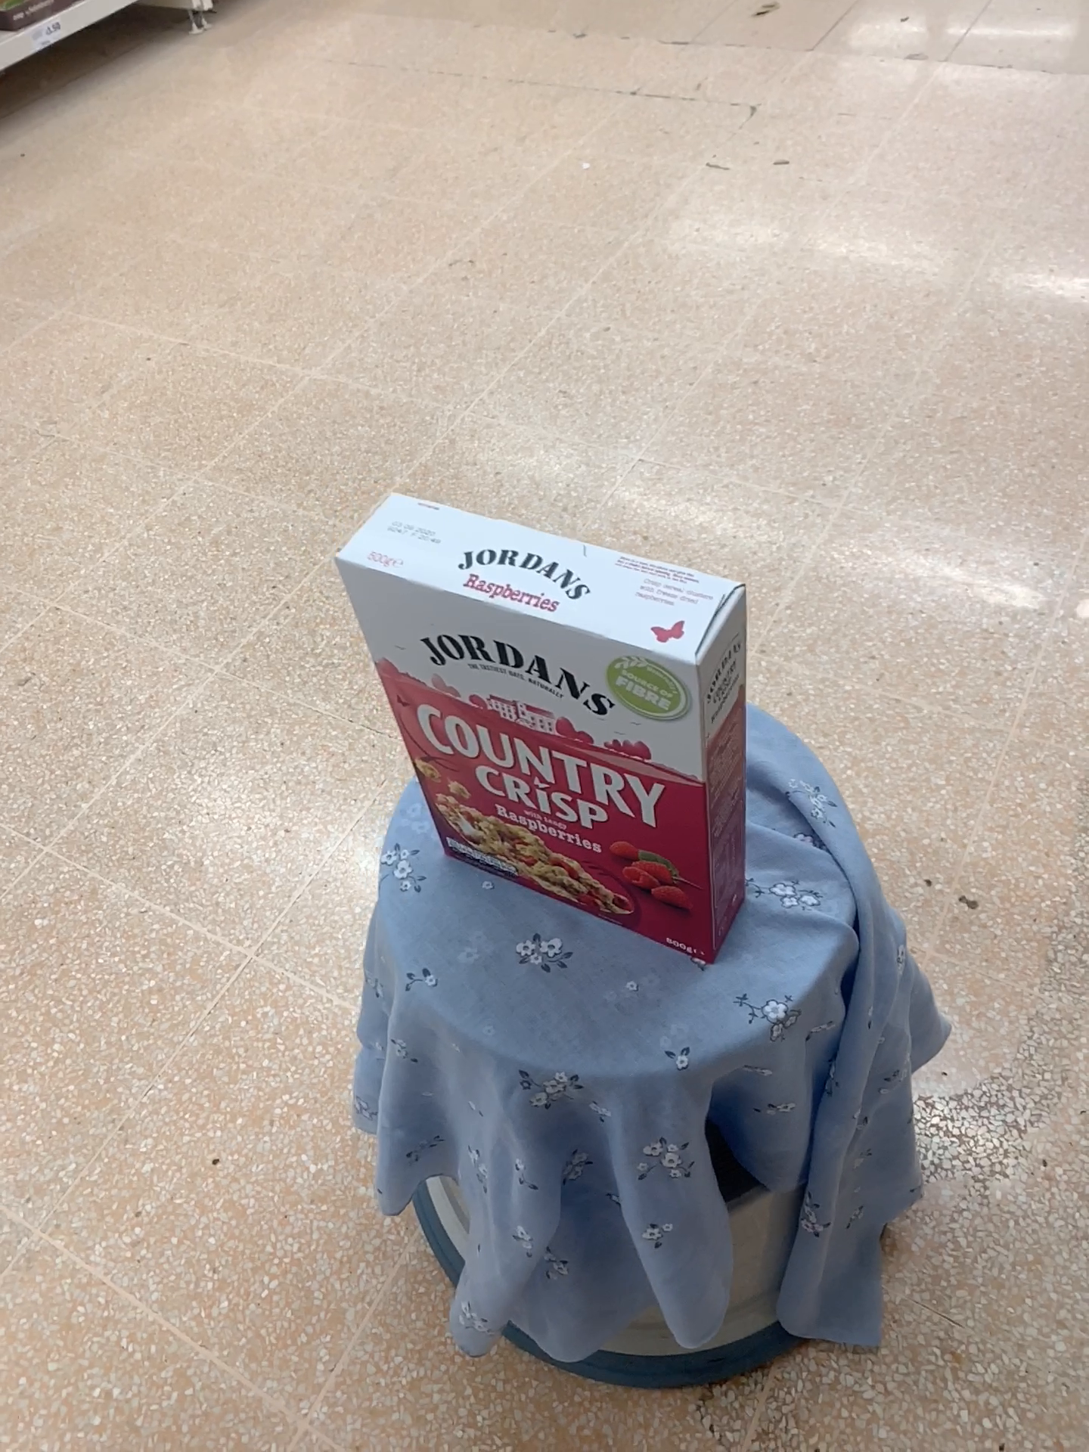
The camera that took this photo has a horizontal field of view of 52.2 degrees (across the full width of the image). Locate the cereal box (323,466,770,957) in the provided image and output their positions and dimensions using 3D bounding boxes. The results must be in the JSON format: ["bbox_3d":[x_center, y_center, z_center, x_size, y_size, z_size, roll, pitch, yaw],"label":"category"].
[{"bbox_3d":[0.014,0.003,0.609,0.201,0.268,0.060,19,58,22],"label":"cereal box"}]
